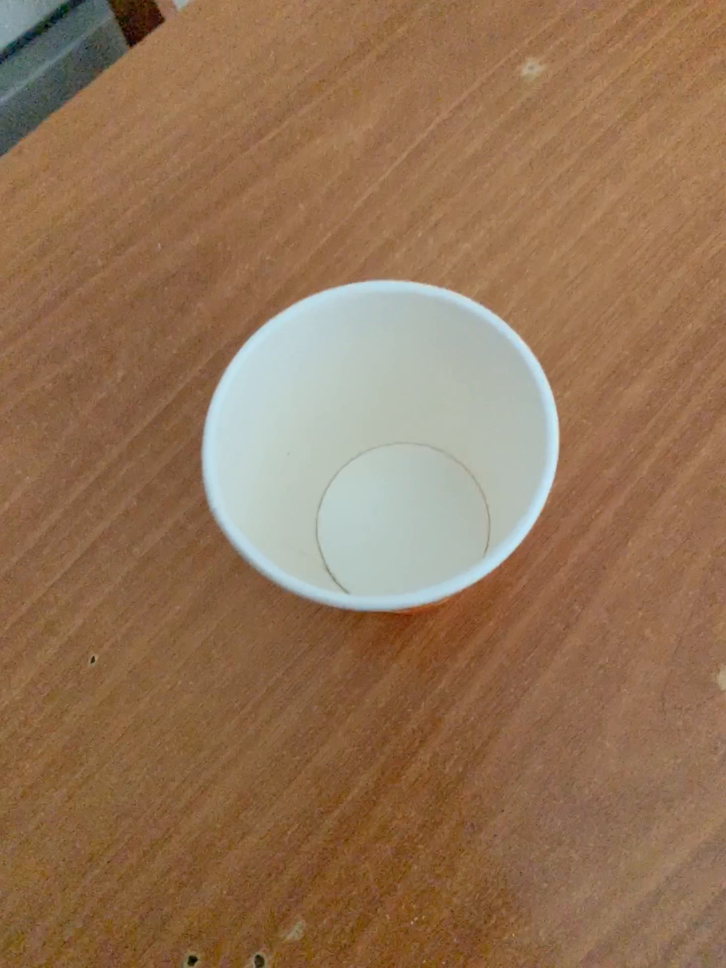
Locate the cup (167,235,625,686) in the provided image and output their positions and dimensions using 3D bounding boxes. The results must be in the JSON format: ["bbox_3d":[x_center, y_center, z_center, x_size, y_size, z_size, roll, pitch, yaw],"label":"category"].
[{"bbox_3d":[0.008,0.001,0.206,0.081,0.083,0.079,-2,72,6],"label":"cup"}]
